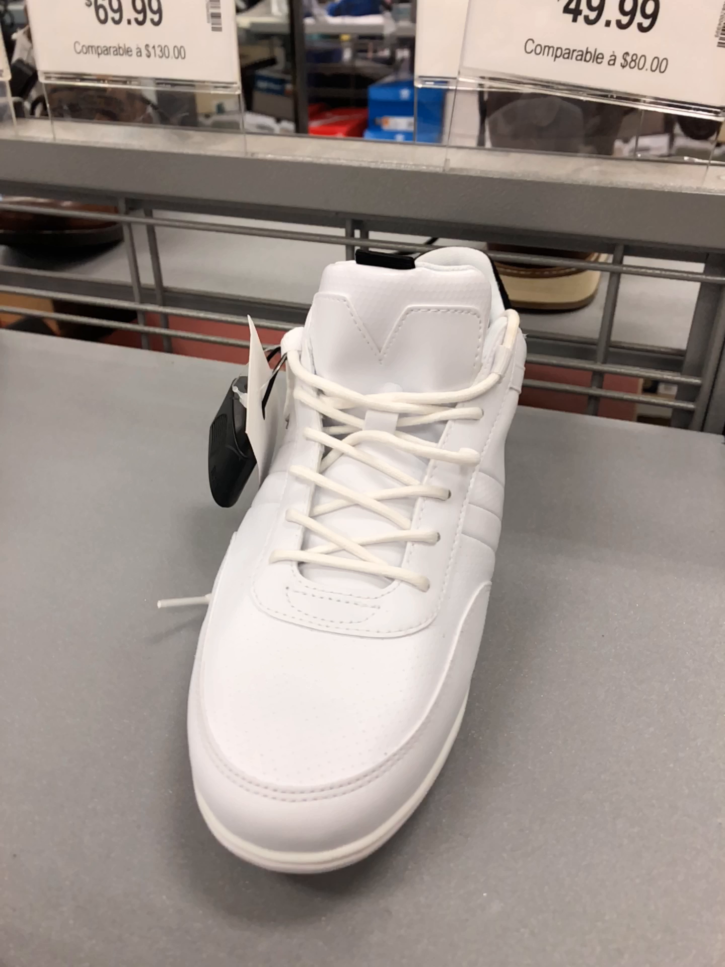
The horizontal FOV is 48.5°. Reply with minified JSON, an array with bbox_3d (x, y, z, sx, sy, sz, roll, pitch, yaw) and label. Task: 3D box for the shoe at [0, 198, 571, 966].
[{"bbox_3d":[0.009,-0.006,0.294,0.110,0.119,0.272,7,34,11],"label":"shoe"}]
